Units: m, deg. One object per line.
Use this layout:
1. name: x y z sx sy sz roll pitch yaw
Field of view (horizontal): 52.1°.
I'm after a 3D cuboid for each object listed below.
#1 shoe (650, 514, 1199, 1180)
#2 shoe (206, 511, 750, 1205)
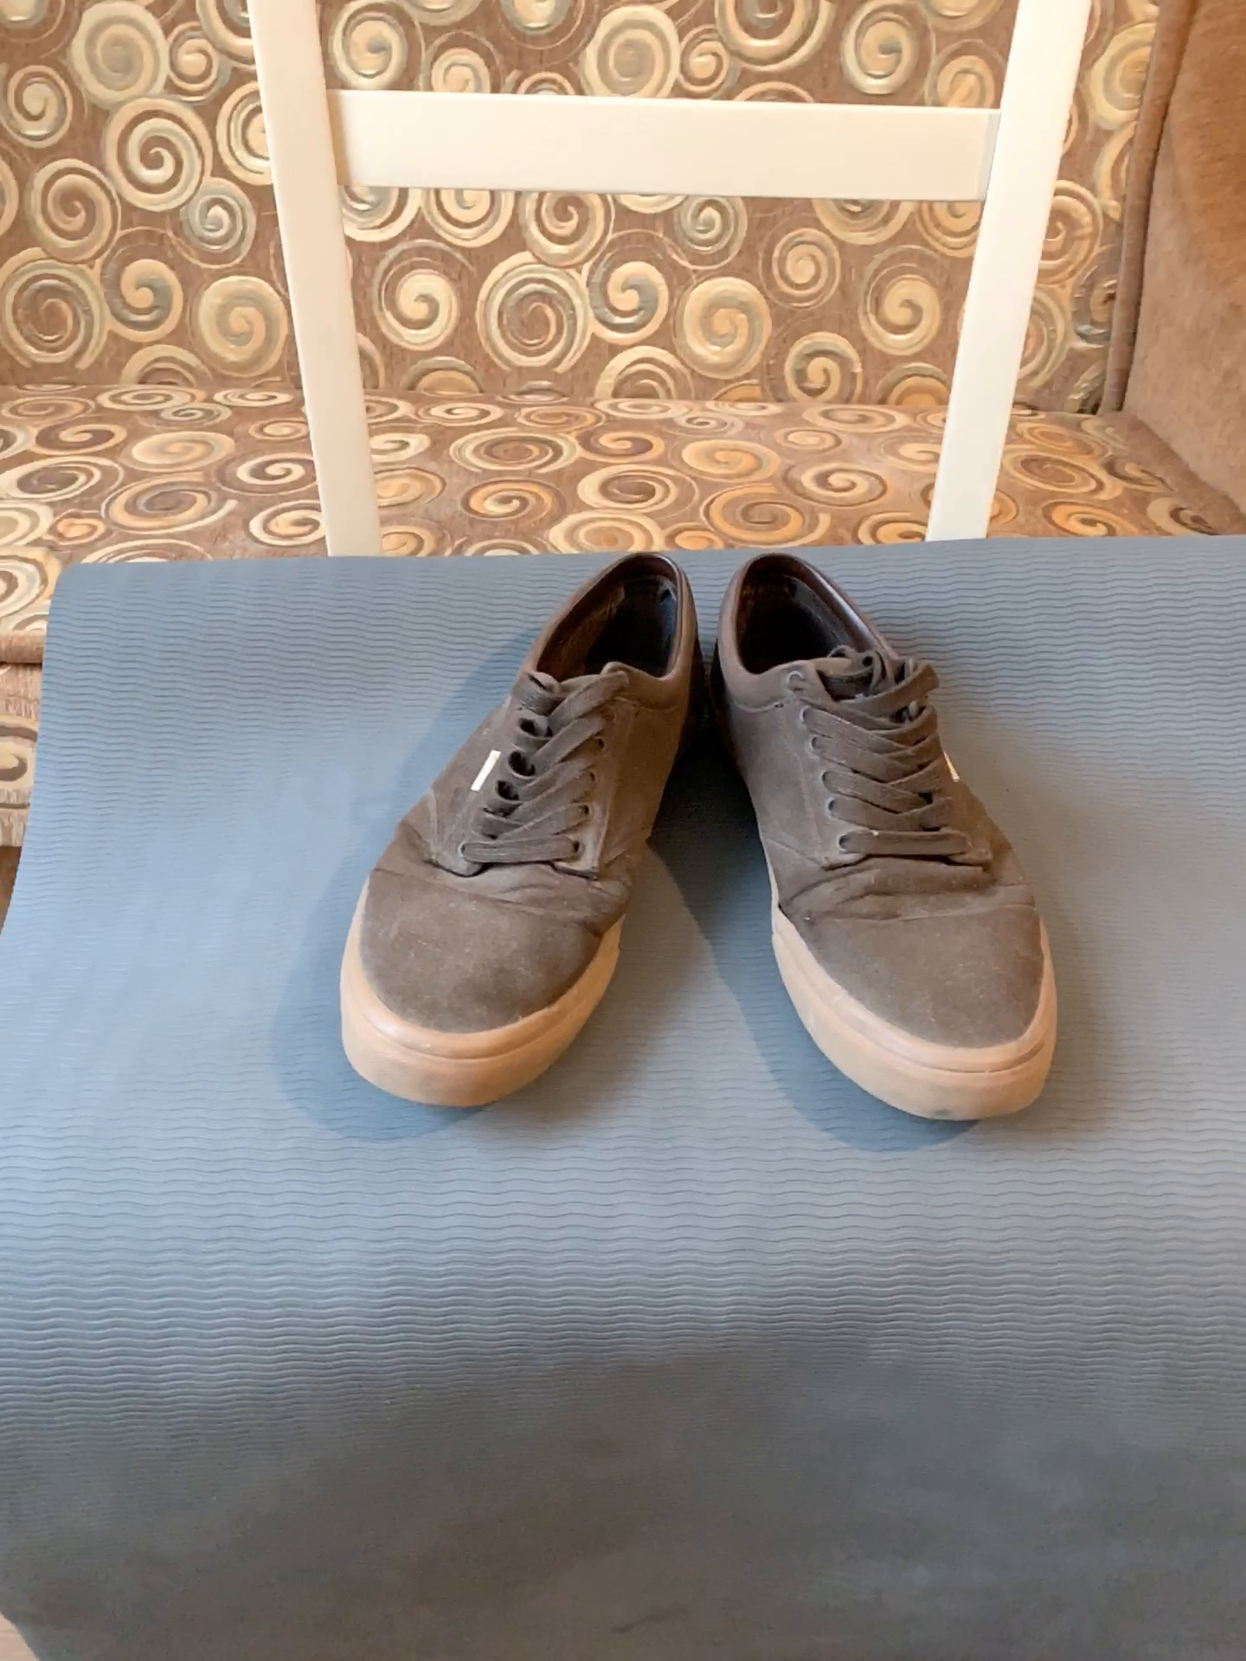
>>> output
1. shoe: 0.097 -0.020 0.537 0.110 0.080 0.322 -6 41 -8
2. shoe: -0.036 -0.018 0.549 0.110 0.080 0.342 11 41 11
